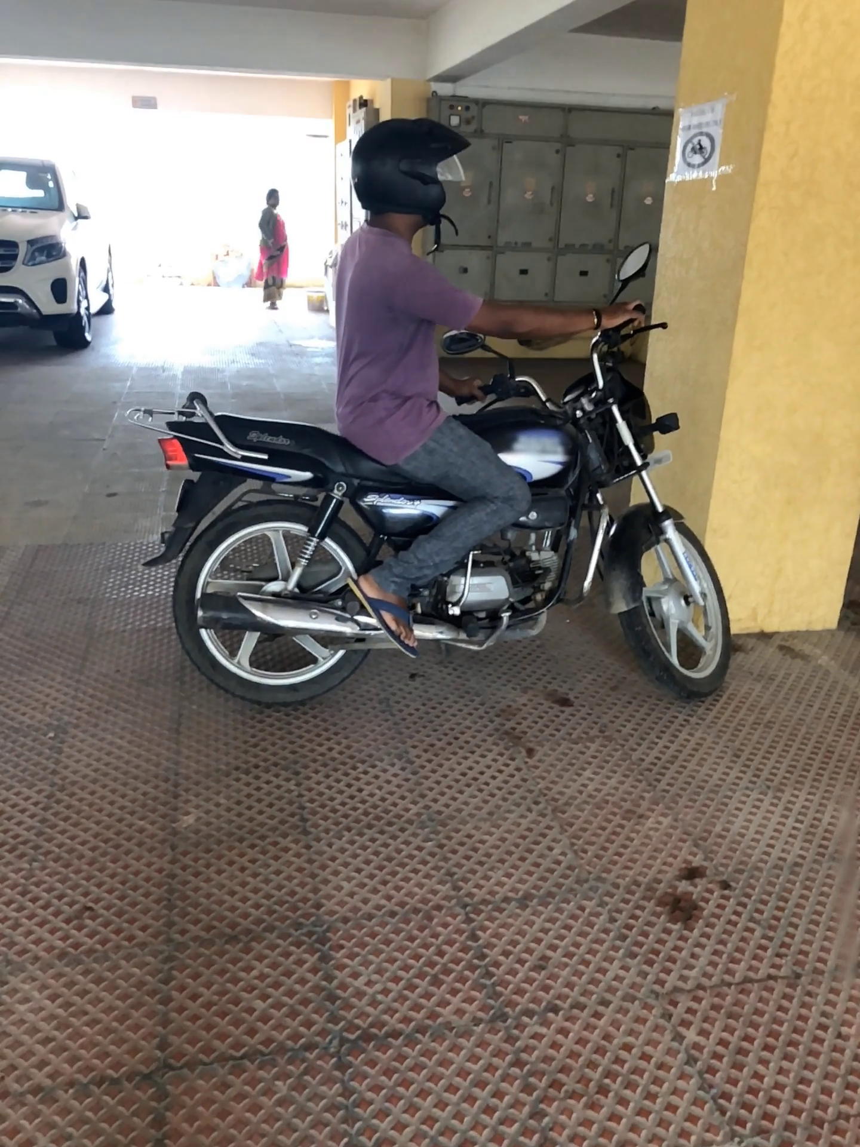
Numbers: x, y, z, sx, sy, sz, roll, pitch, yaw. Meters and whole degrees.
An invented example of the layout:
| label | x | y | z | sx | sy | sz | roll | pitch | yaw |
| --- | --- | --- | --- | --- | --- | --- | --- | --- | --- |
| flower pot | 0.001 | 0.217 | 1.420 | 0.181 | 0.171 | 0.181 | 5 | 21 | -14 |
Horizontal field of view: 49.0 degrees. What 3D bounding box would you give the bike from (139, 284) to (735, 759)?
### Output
| label | x | y | z | sx | sy | sz | roll | pitch | yaw |
| --- | --- | --- | --- | --- | --- | --- | --- | --- | --- |
| bike | -0.009 | -0.187 | 2.929 | 1.542 | 1.195 | 0.769 | -1 | 21 | -13 |
